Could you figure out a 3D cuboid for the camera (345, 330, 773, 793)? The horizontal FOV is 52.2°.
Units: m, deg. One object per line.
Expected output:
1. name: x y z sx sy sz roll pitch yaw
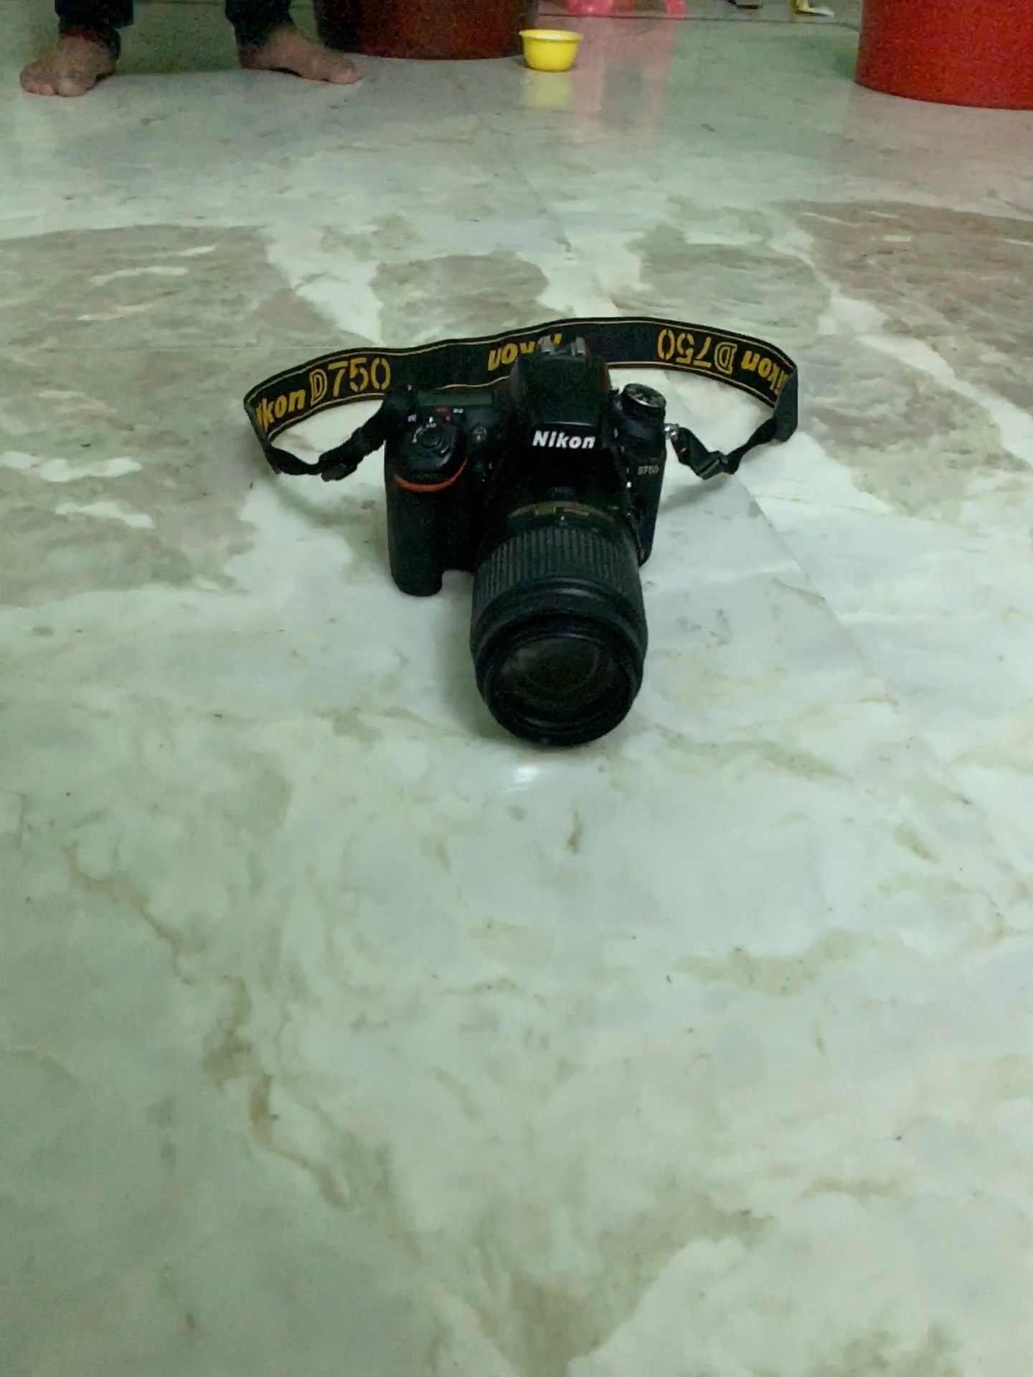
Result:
1. camera: 0.014 -0.068 0.485 0.150 0.120 0.201 2 38 -1
